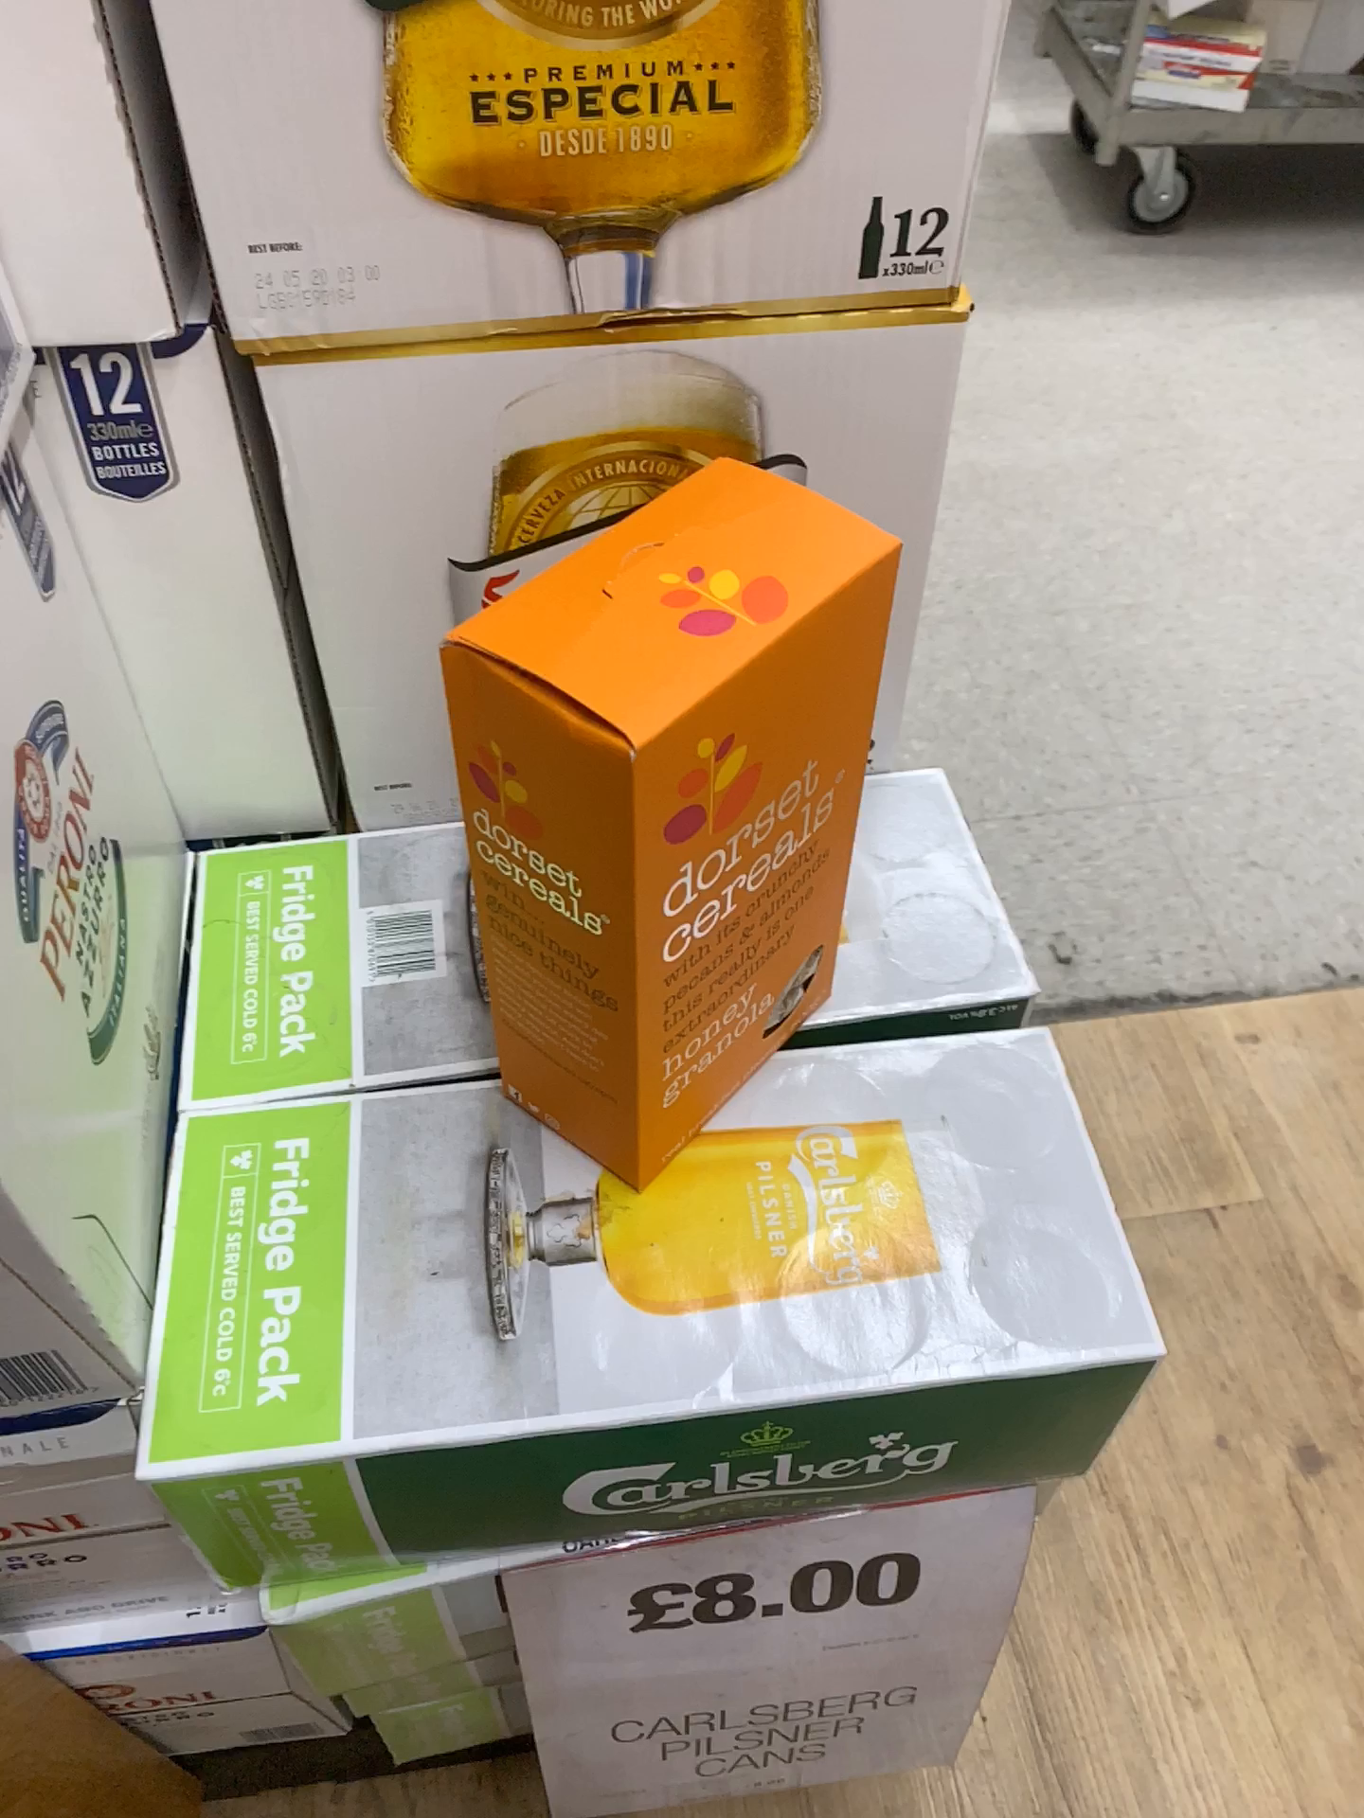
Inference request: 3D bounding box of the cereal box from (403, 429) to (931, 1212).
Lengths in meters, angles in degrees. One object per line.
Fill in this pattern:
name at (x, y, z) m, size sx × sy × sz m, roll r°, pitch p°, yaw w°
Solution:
cereal box at (-0.002, -0.018, 0.423) m, size 0.070 × 0.198 × 0.121 m, roll 33°, pitch 57°, yaw 24°
